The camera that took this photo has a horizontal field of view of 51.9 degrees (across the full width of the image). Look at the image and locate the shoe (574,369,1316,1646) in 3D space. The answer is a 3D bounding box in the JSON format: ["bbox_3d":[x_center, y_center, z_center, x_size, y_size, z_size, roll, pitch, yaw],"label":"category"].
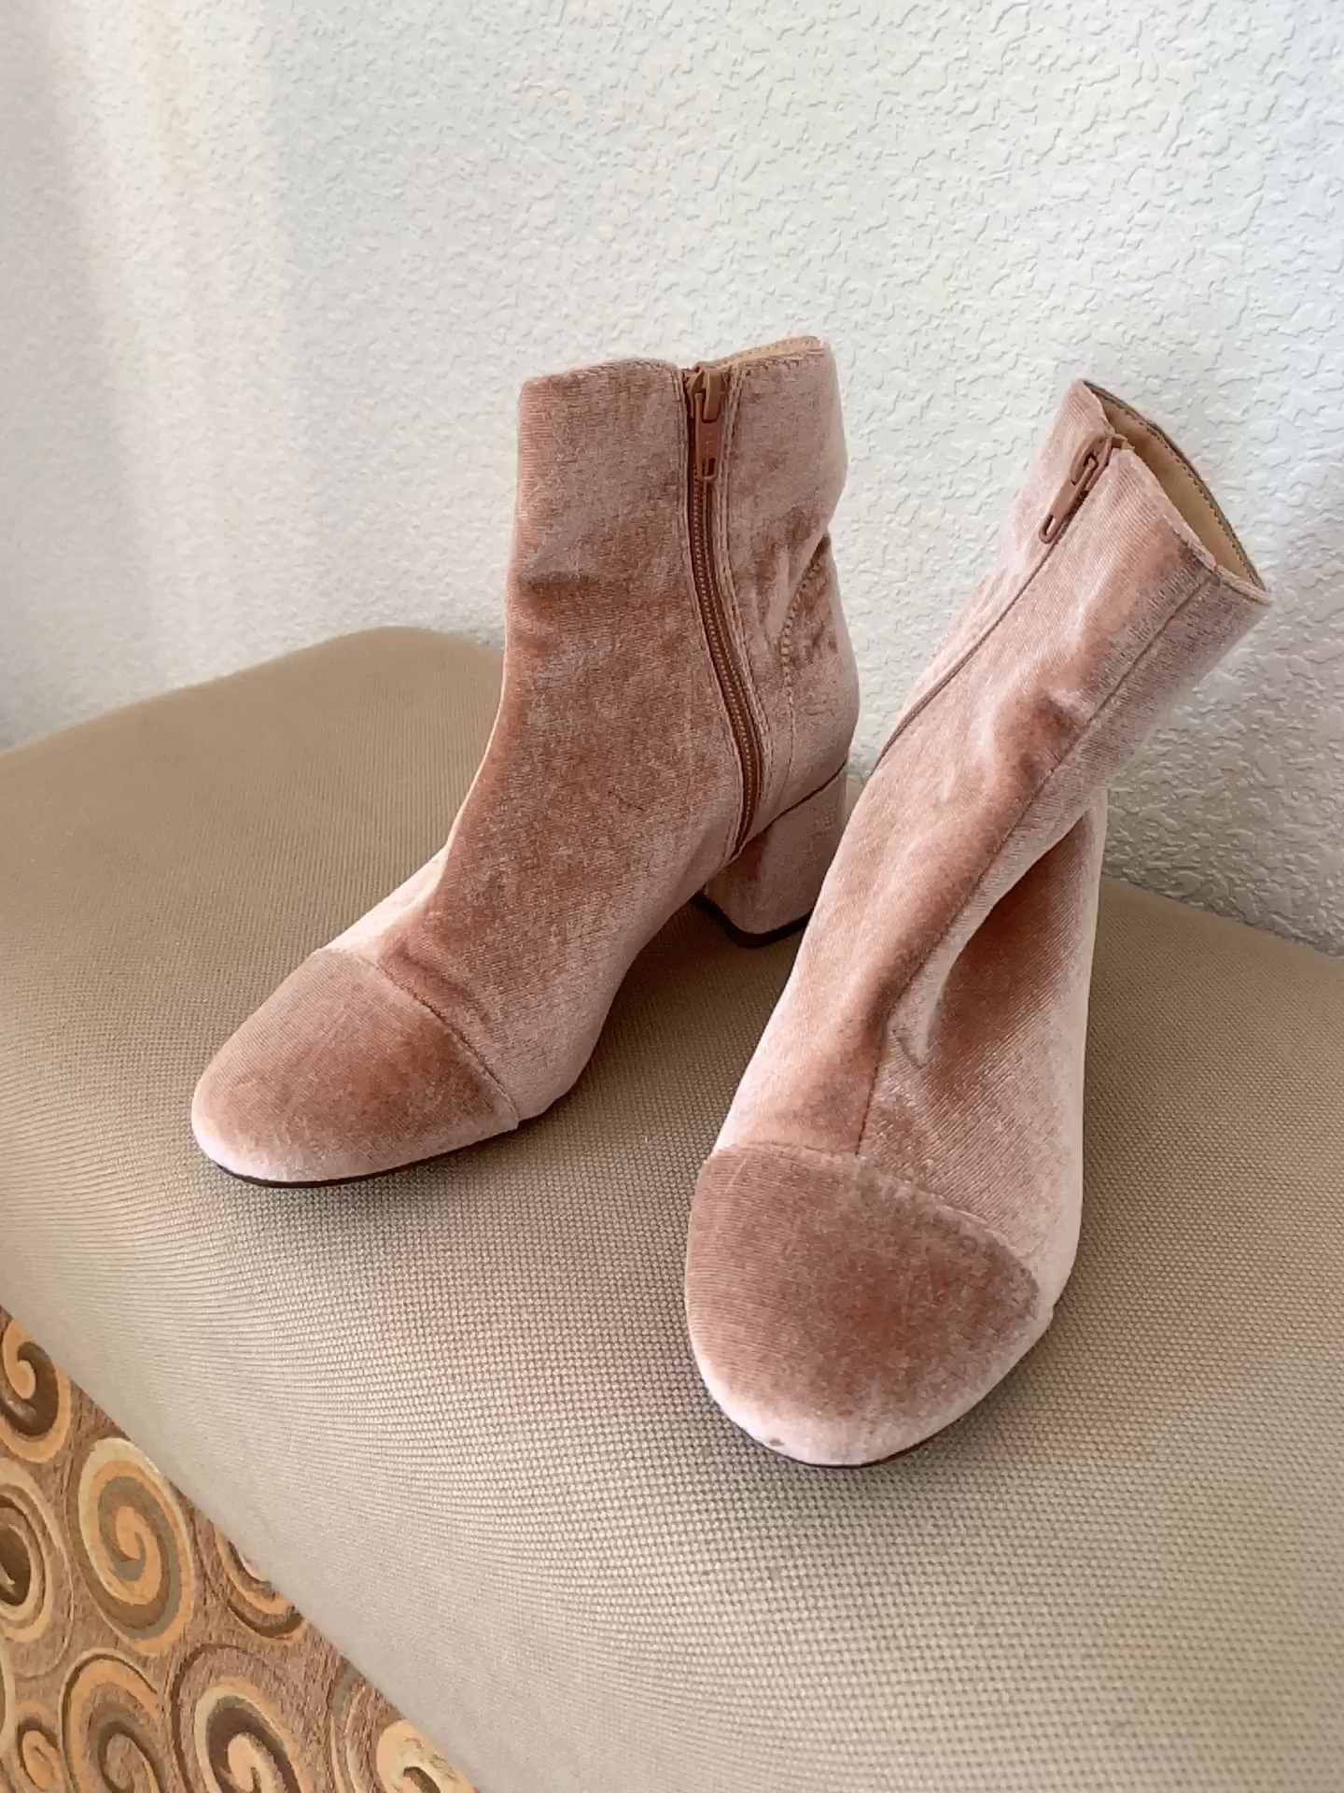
[{"bbox_3d":[0.081,-0.008,0.336,0.100,0.169,0.271,13,34,18],"label":"shoe"}]

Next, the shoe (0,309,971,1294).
[{"bbox_3d":[-0.036,-0.045,0.369,0.100,0.169,0.231,26,40,34],"label":"shoe"}]
